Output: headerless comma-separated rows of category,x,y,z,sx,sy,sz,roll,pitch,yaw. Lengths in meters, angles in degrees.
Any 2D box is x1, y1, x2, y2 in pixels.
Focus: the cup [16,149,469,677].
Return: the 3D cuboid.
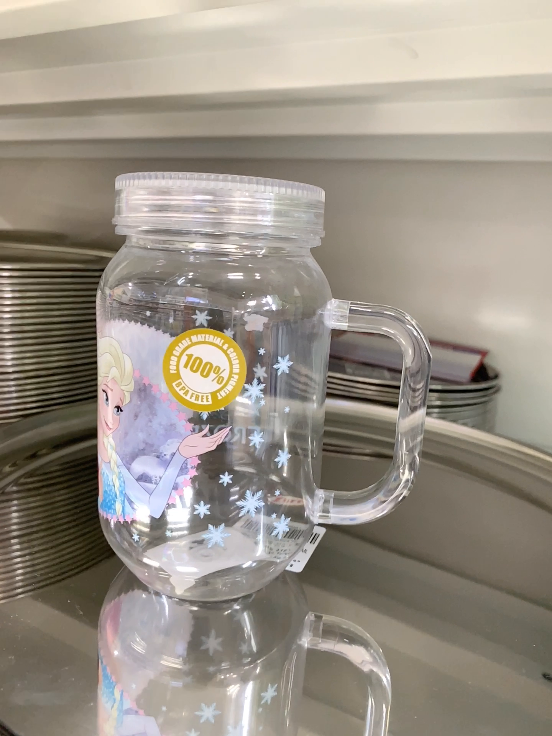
cup,-0.009,0.004,0.190,0.120,0.129,0.070,8,12,15
